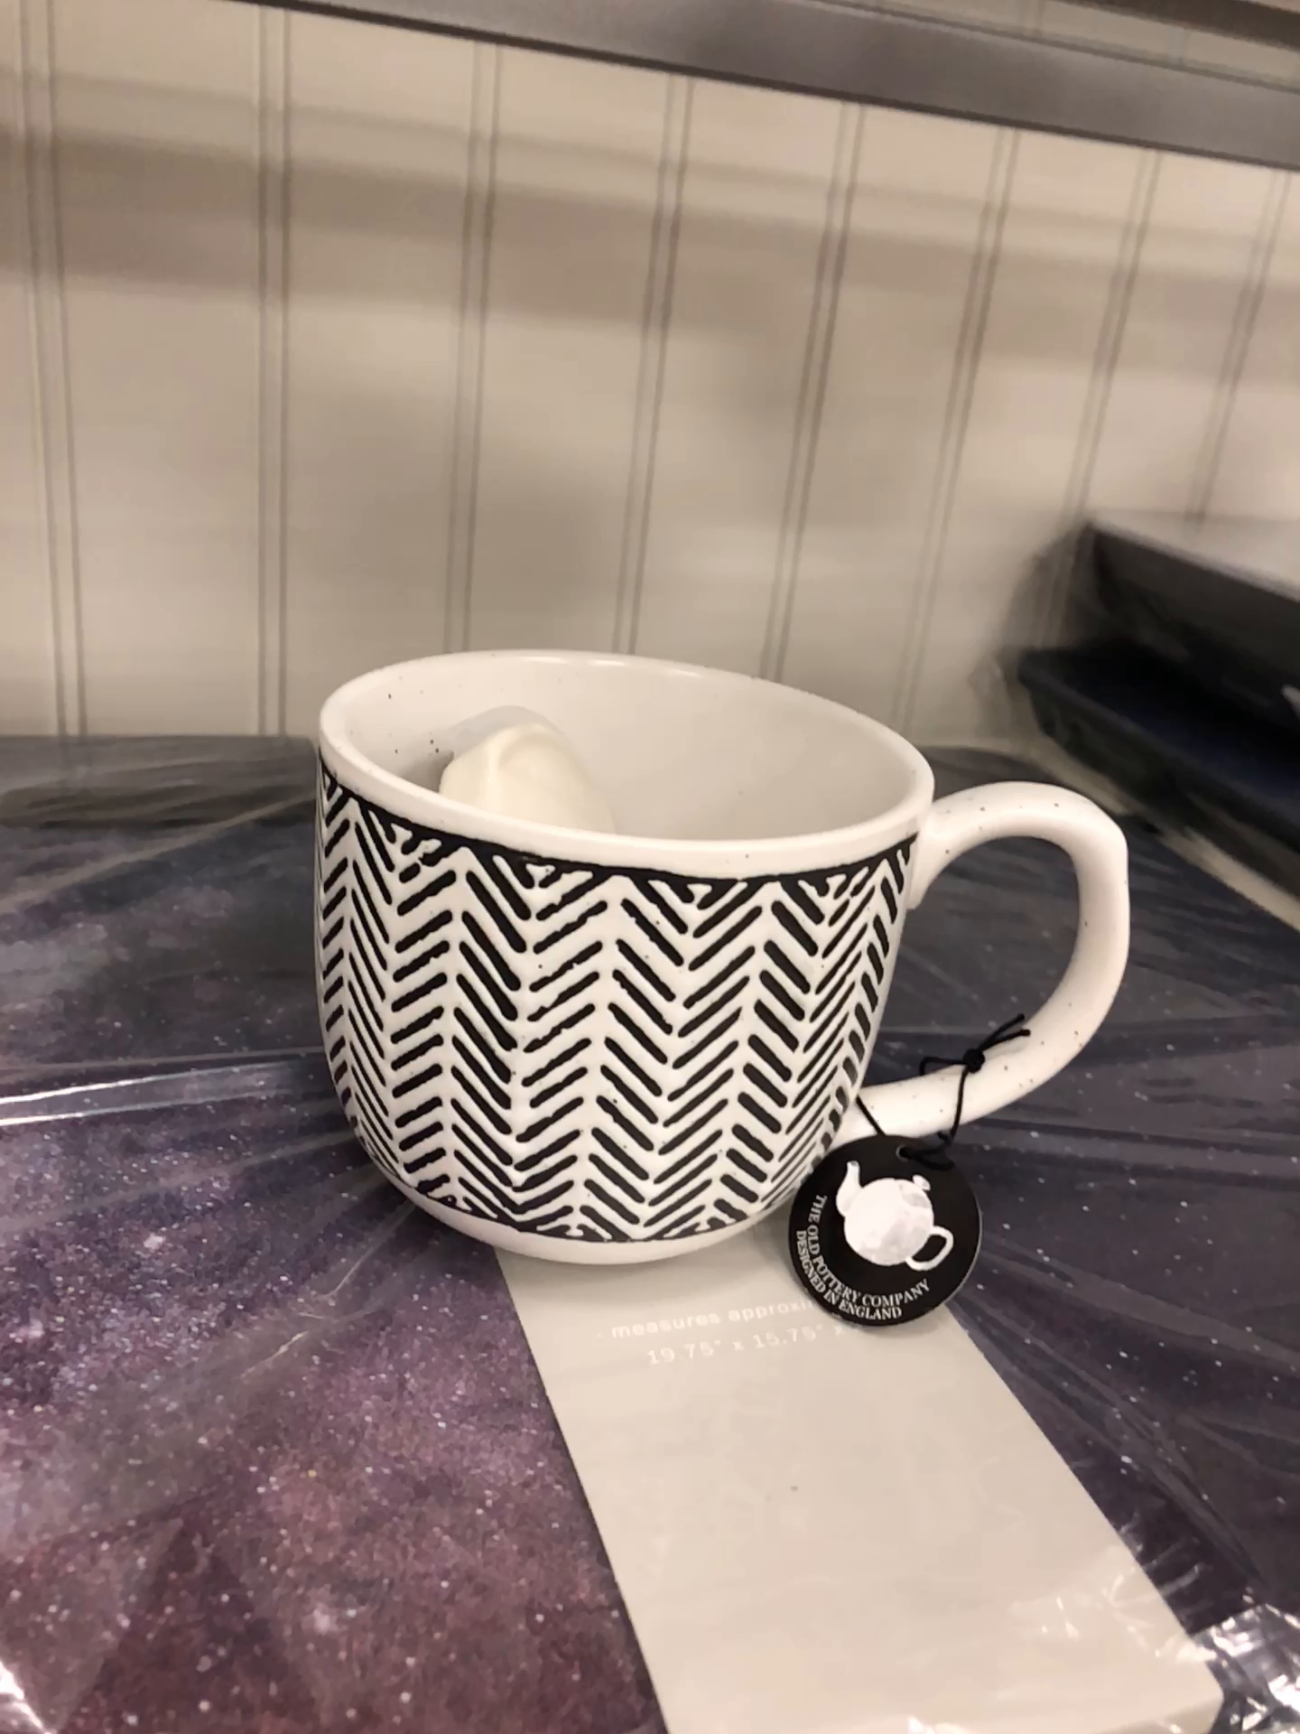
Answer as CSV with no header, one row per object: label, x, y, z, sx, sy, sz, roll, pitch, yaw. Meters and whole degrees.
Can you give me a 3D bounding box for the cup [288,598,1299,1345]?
cup,0.020,0.012,0.249,0.140,0.079,0.091,7,24,-1
